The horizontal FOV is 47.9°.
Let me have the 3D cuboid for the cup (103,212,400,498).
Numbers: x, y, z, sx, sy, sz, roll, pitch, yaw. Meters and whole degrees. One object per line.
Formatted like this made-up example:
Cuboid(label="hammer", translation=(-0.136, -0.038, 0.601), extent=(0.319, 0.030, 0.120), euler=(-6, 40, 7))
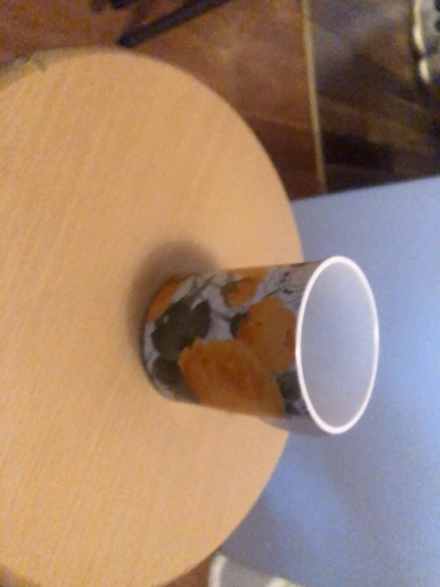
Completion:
Cuboid(label="cup", translation=(0.024, 0.032, 0.266), extent=(0.111, 0.097, 0.082), euler=(58, 47, -30))
